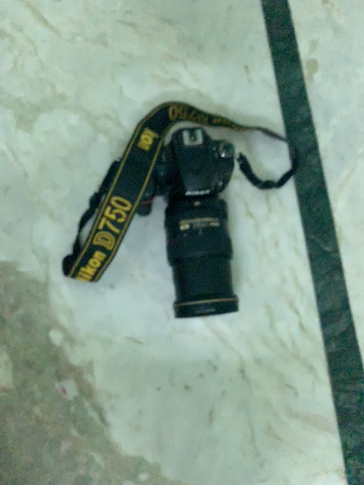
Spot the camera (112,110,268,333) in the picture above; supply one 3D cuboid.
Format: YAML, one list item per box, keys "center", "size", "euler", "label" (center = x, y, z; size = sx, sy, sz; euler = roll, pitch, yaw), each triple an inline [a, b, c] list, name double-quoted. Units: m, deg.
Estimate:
- center: [0.001, -0.020, 0.447]
  size: [0.139, 0.100, 0.232]
  euler: [-5, 76, -4]
  label: "camera"
